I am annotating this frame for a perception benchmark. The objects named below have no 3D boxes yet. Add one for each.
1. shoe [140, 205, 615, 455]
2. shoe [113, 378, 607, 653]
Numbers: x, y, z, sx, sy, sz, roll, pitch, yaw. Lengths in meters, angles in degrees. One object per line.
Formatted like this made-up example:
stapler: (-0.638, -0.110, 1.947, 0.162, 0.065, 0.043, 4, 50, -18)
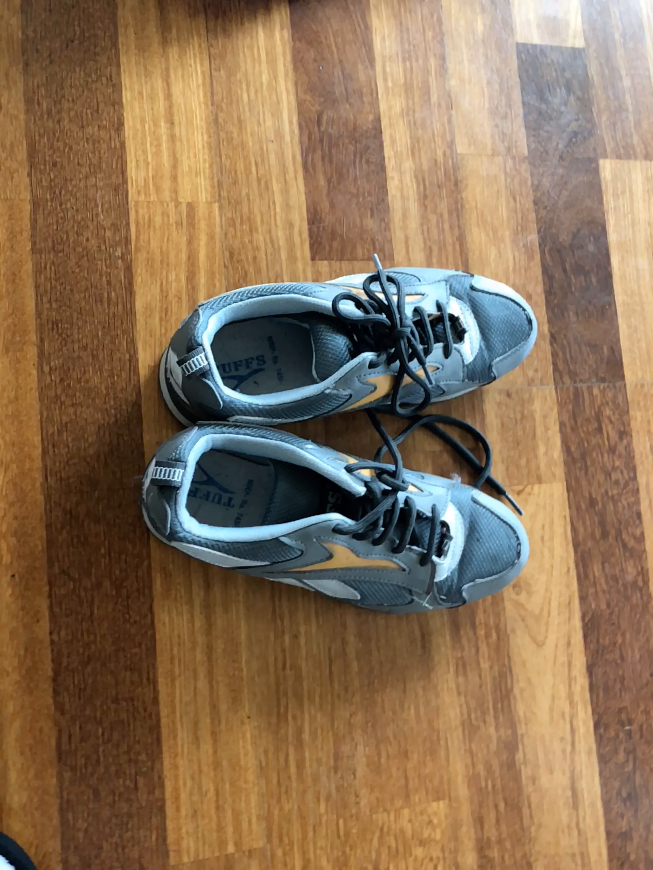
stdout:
shoe: (0.029, -0.070, 0.483, 0.283, 0.099, 0.112, -9, 83, -15)
shoe: (0.023, 0.057, 0.456, 0.283, 0.088, 0.110, 12, 78, -13)
